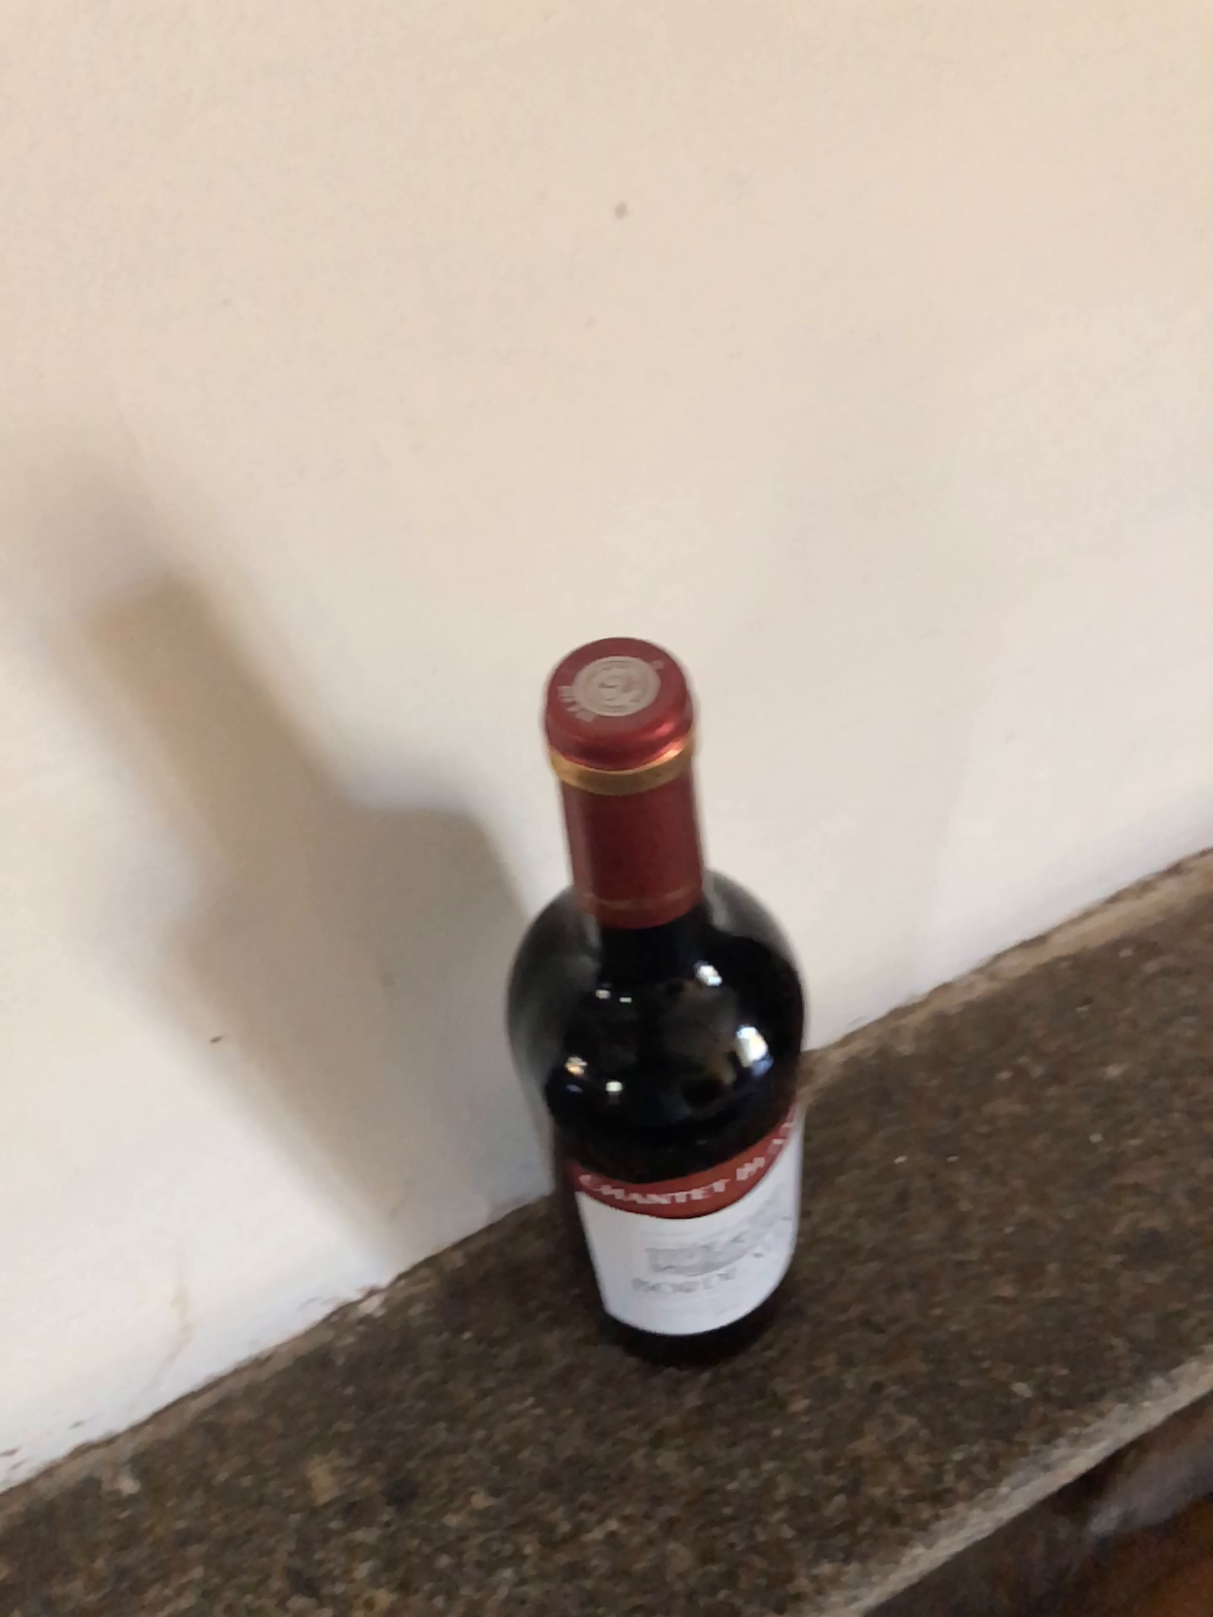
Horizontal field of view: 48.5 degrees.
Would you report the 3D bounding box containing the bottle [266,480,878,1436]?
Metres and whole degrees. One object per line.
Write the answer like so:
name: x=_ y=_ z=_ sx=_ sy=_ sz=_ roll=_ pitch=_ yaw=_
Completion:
bottle: x=0.006 y=0.067 z=0.348 sx=0.080 sy=0.289 sz=0.080 roll=-4 pitch=52 yaw=5
